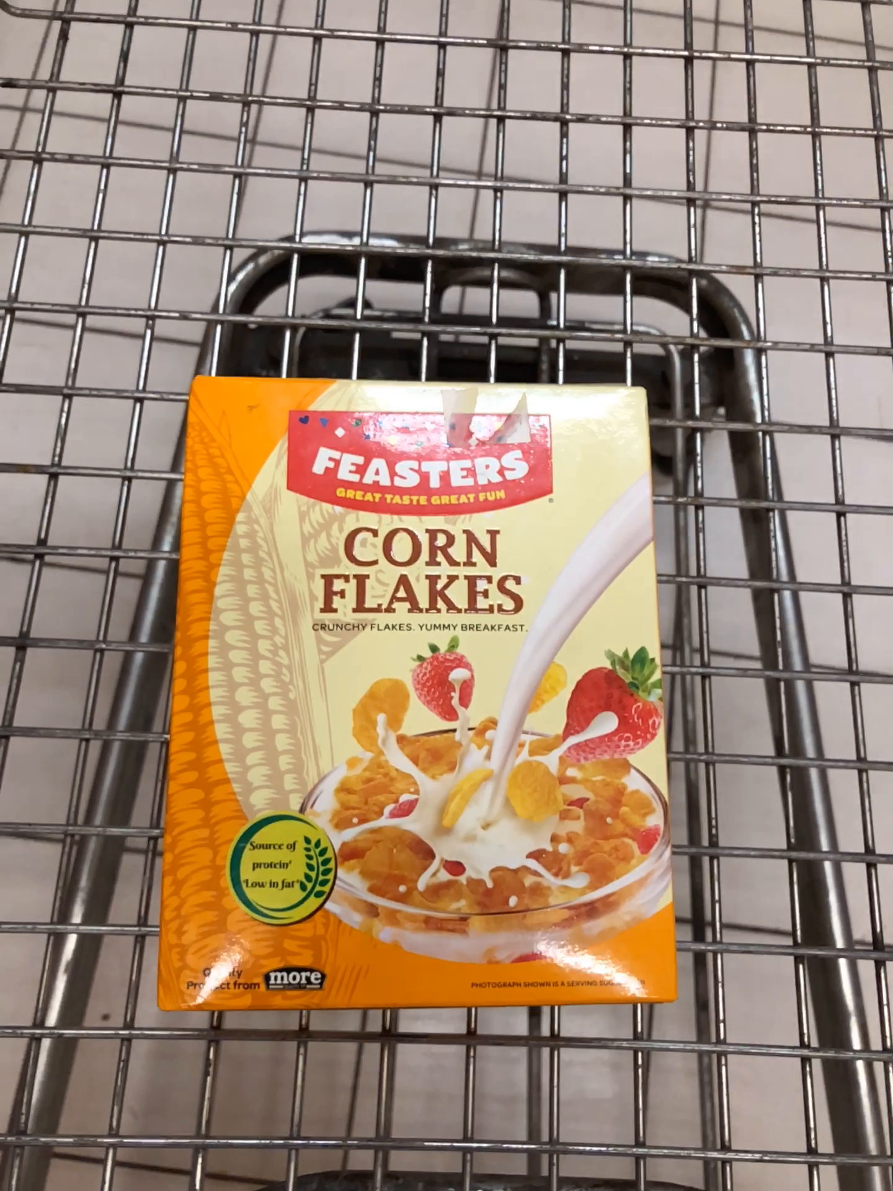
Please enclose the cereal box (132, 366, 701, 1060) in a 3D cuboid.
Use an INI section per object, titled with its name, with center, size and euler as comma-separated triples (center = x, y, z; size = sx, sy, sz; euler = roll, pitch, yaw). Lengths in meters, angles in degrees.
[cereal box]
center = -0.007, 0.031, 0.293
size = 0.140, 0.060, 0.180
euler = 1, 78, -3
